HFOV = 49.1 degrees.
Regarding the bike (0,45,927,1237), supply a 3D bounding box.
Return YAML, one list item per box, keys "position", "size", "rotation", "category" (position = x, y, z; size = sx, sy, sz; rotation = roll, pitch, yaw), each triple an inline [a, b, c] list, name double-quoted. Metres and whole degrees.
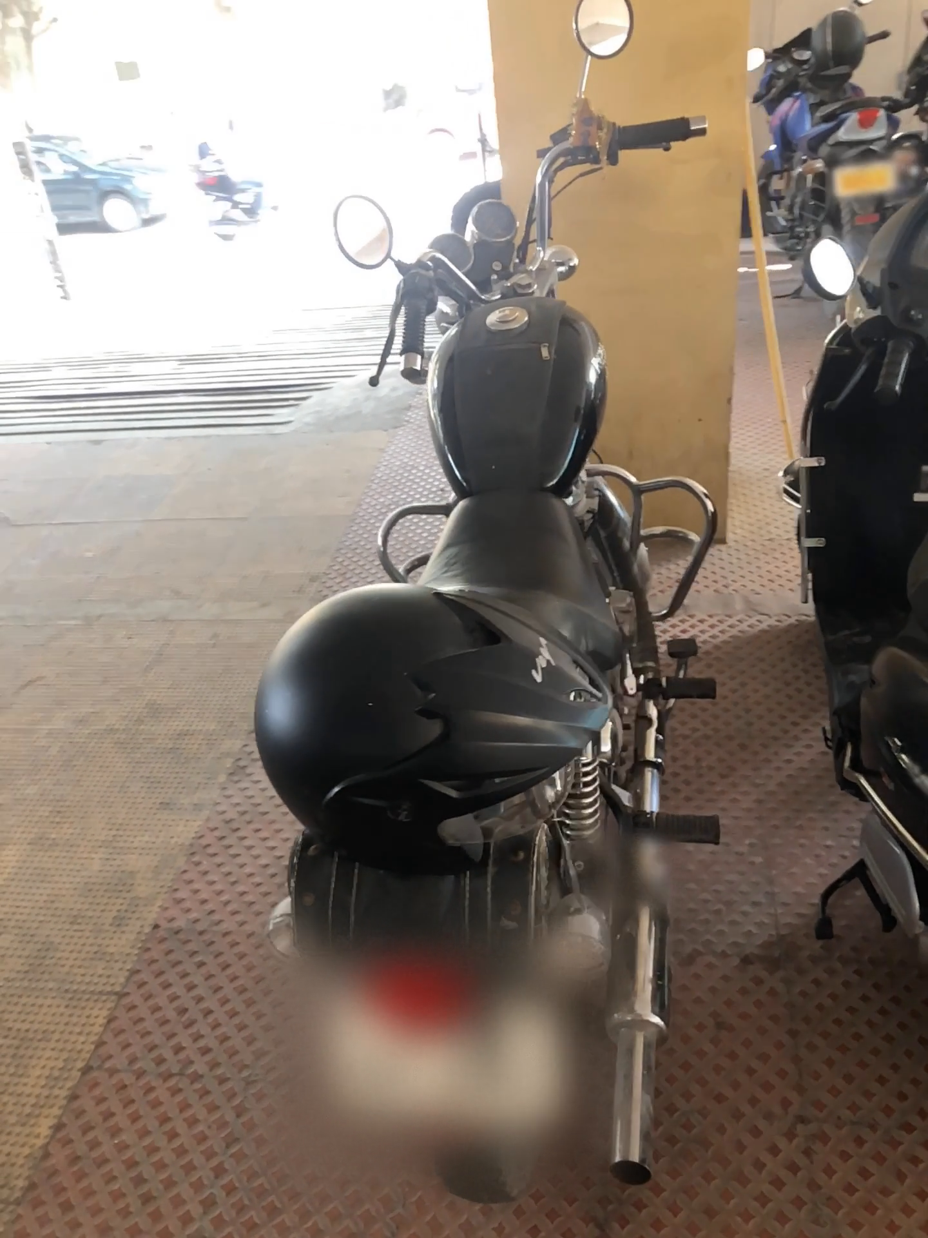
- position: [-0.014, -0.179, 1.811]
  size: [0.783, 1.177, 1.820]
  rotation: [-5, 35, 4]
  category: "bike"
